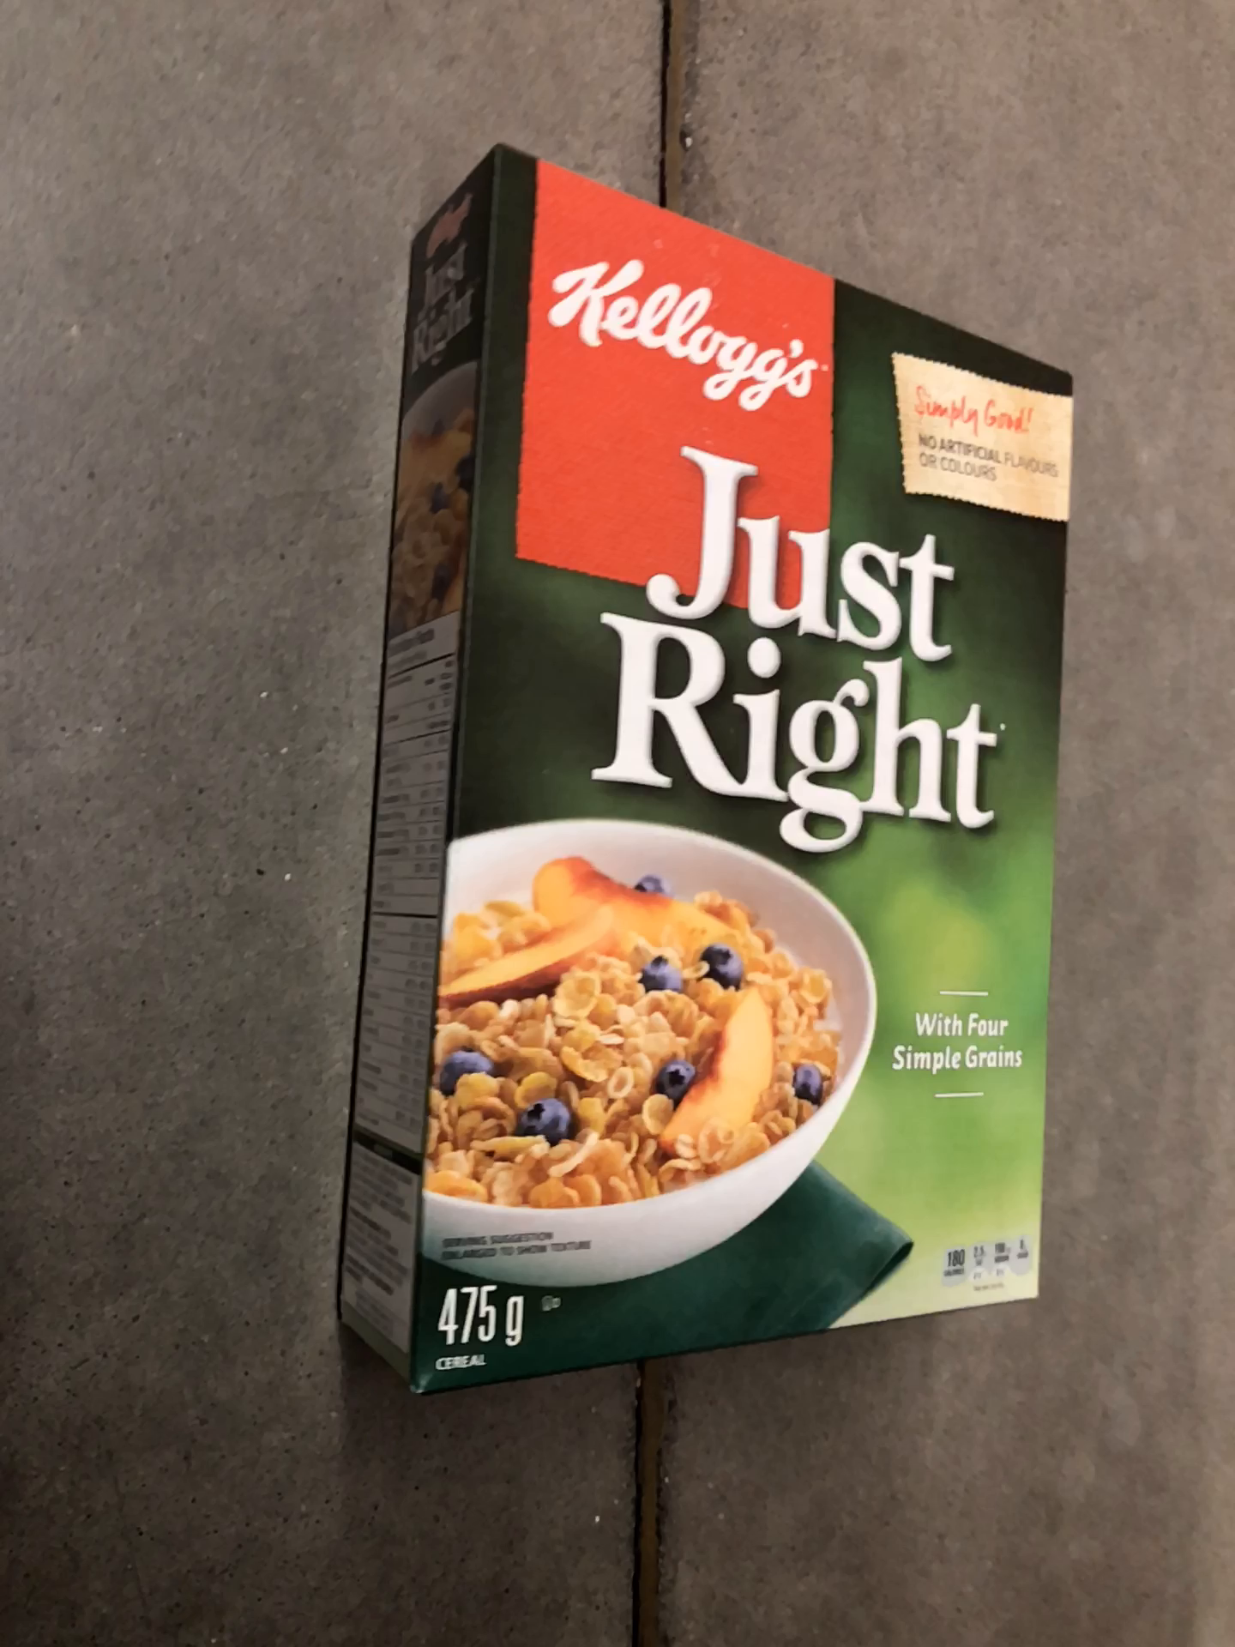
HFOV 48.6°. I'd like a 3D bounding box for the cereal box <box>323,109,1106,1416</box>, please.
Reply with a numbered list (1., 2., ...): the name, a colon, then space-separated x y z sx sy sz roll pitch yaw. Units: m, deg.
1. cereal box: 0.039 -0.009 0.382 0.211 0.060 0.290 6 85 -32
